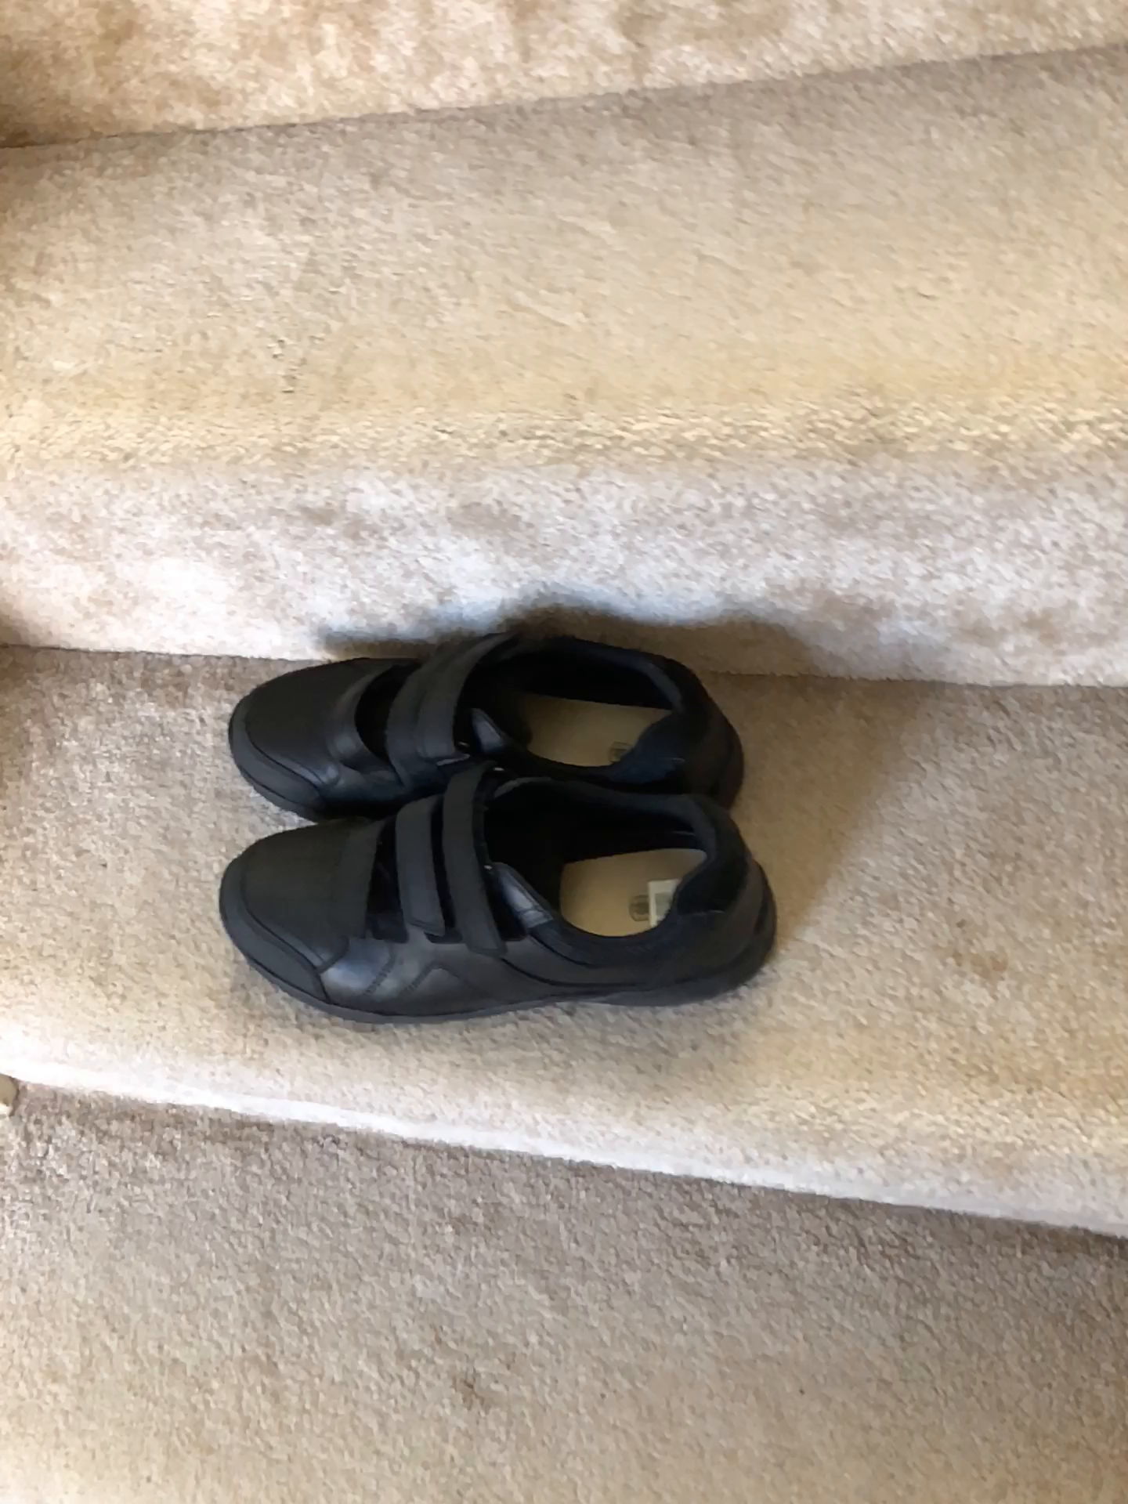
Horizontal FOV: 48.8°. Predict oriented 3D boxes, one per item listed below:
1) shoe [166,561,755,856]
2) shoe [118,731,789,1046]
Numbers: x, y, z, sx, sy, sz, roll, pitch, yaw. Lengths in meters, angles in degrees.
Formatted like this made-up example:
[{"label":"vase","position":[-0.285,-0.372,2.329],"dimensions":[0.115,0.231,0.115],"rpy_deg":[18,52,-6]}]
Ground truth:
[{"label":"shoe","position":[-0.044,-0.017,0.630],"dimensions":[0.270,0.099,0.100],"rpy_deg":[-2,59,13]},{"label":"shoe","position":[-0.040,0.064,0.555],"dimensions":[0.270,0.099,0.100],"rpy_deg":[-2,59,13]}]
